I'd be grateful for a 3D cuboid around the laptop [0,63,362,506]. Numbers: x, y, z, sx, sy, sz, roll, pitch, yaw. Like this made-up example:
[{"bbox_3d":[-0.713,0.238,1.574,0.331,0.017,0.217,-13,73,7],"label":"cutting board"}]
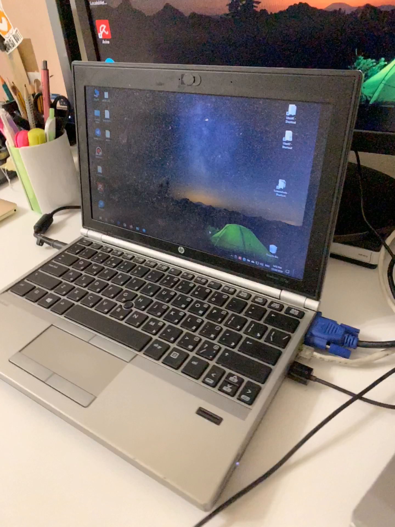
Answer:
[{"bbox_3d":[-0.061,-0.034,0.320,0.284,0.176,0.227,17,42,29],"label":"laptop"}]
